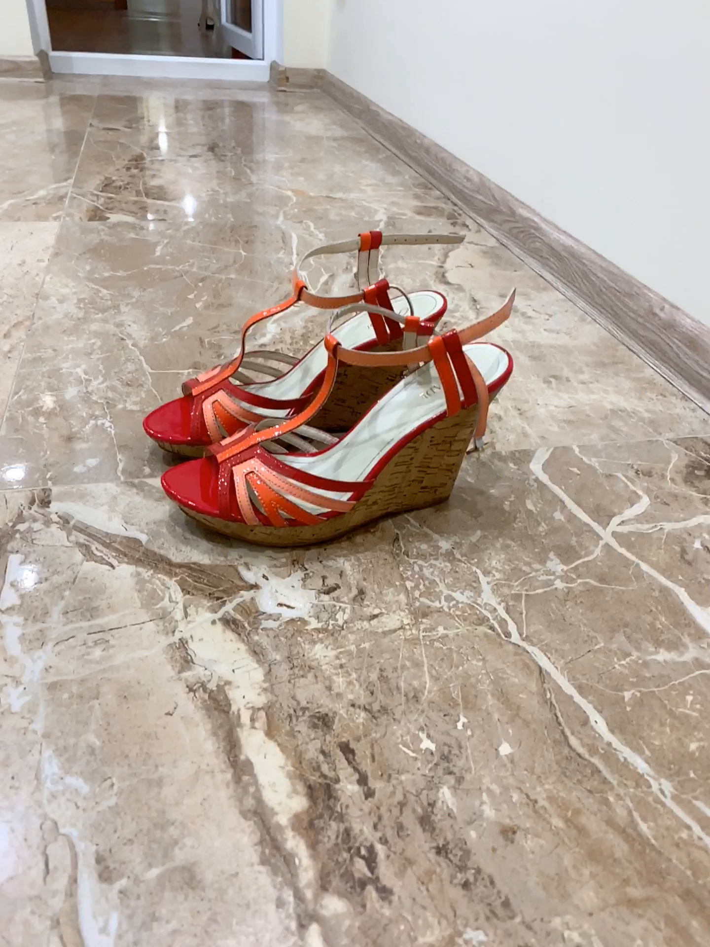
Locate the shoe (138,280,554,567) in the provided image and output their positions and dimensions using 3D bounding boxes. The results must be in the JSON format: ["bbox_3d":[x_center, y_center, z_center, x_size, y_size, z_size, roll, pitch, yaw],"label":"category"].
[{"bbox_3d":[-0.010,-0.035,0.442,0.217,0.129,0.080,-7,37,-16],"label":"shoe"}]

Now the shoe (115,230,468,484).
[{"bbox_3d":[-0.047,-0.086,0.518,0.217,0.139,0.084,-7,37,-16],"label":"shoe"}]
